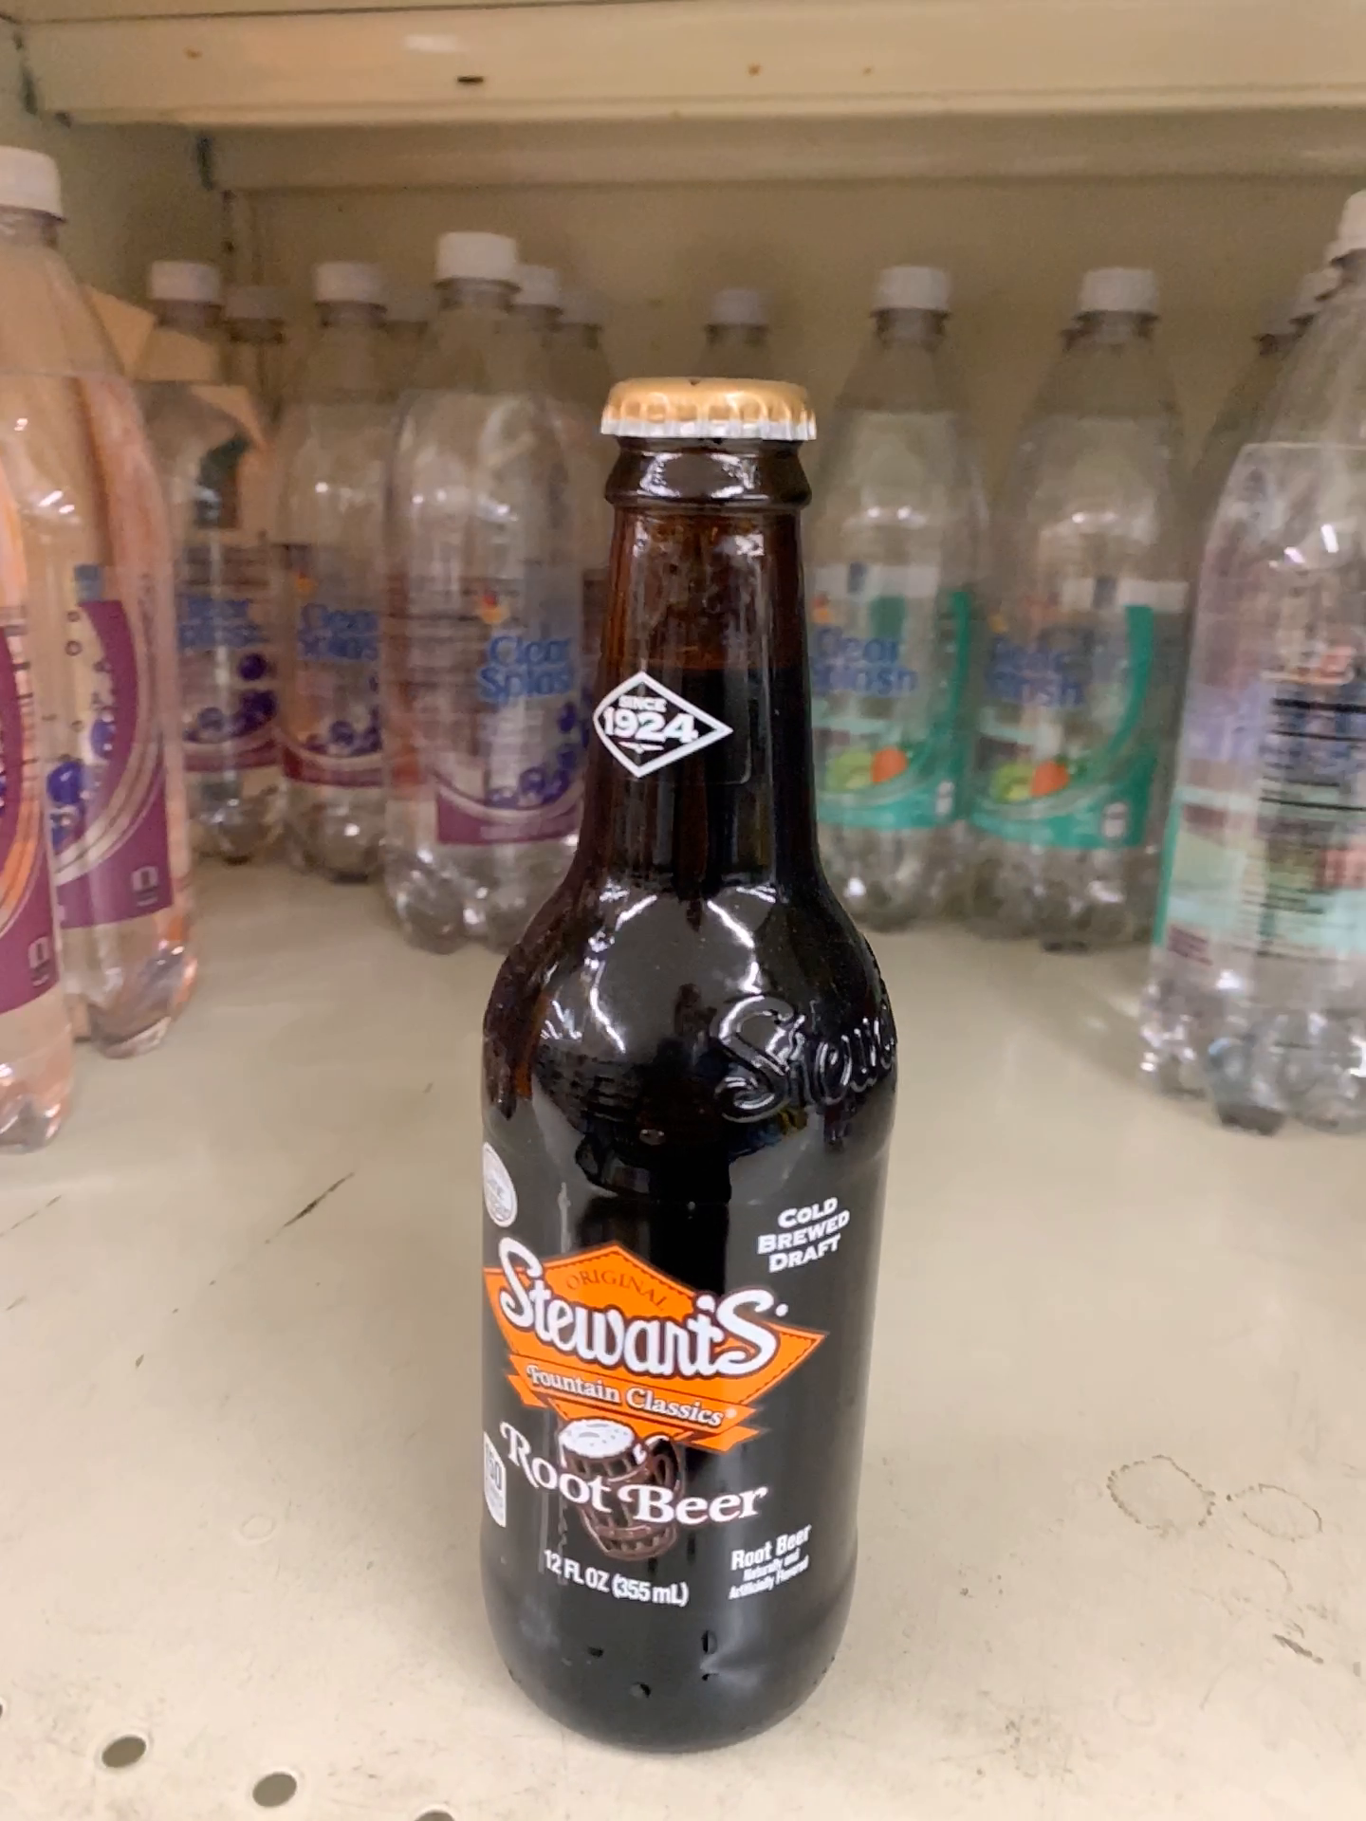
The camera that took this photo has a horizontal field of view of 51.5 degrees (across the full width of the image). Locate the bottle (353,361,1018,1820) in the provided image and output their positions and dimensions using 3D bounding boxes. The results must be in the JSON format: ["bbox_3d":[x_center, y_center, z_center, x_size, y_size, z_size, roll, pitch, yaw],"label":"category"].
[{"bbox_3d":[0.001,0.029,0.217,0.070,0.207,0.060,8,19,20],"label":"bottle"}]
